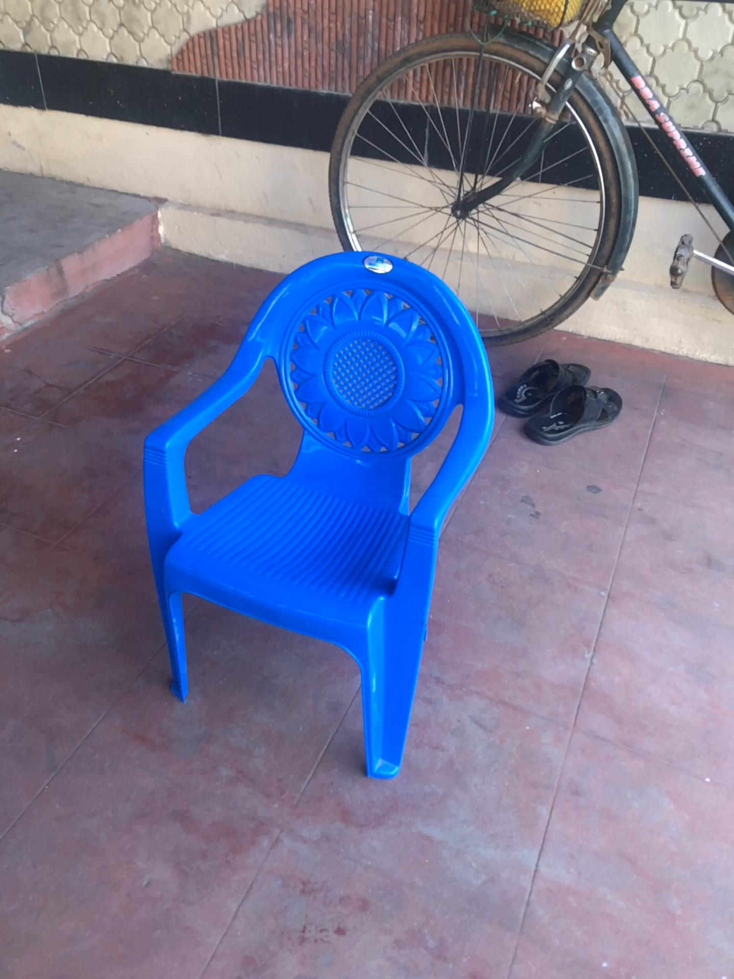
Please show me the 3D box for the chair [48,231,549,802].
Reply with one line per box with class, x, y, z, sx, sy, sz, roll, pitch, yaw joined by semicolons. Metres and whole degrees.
chair;-0.051;0.008;1.065;0.400;0.497;0.453;16;40;19
